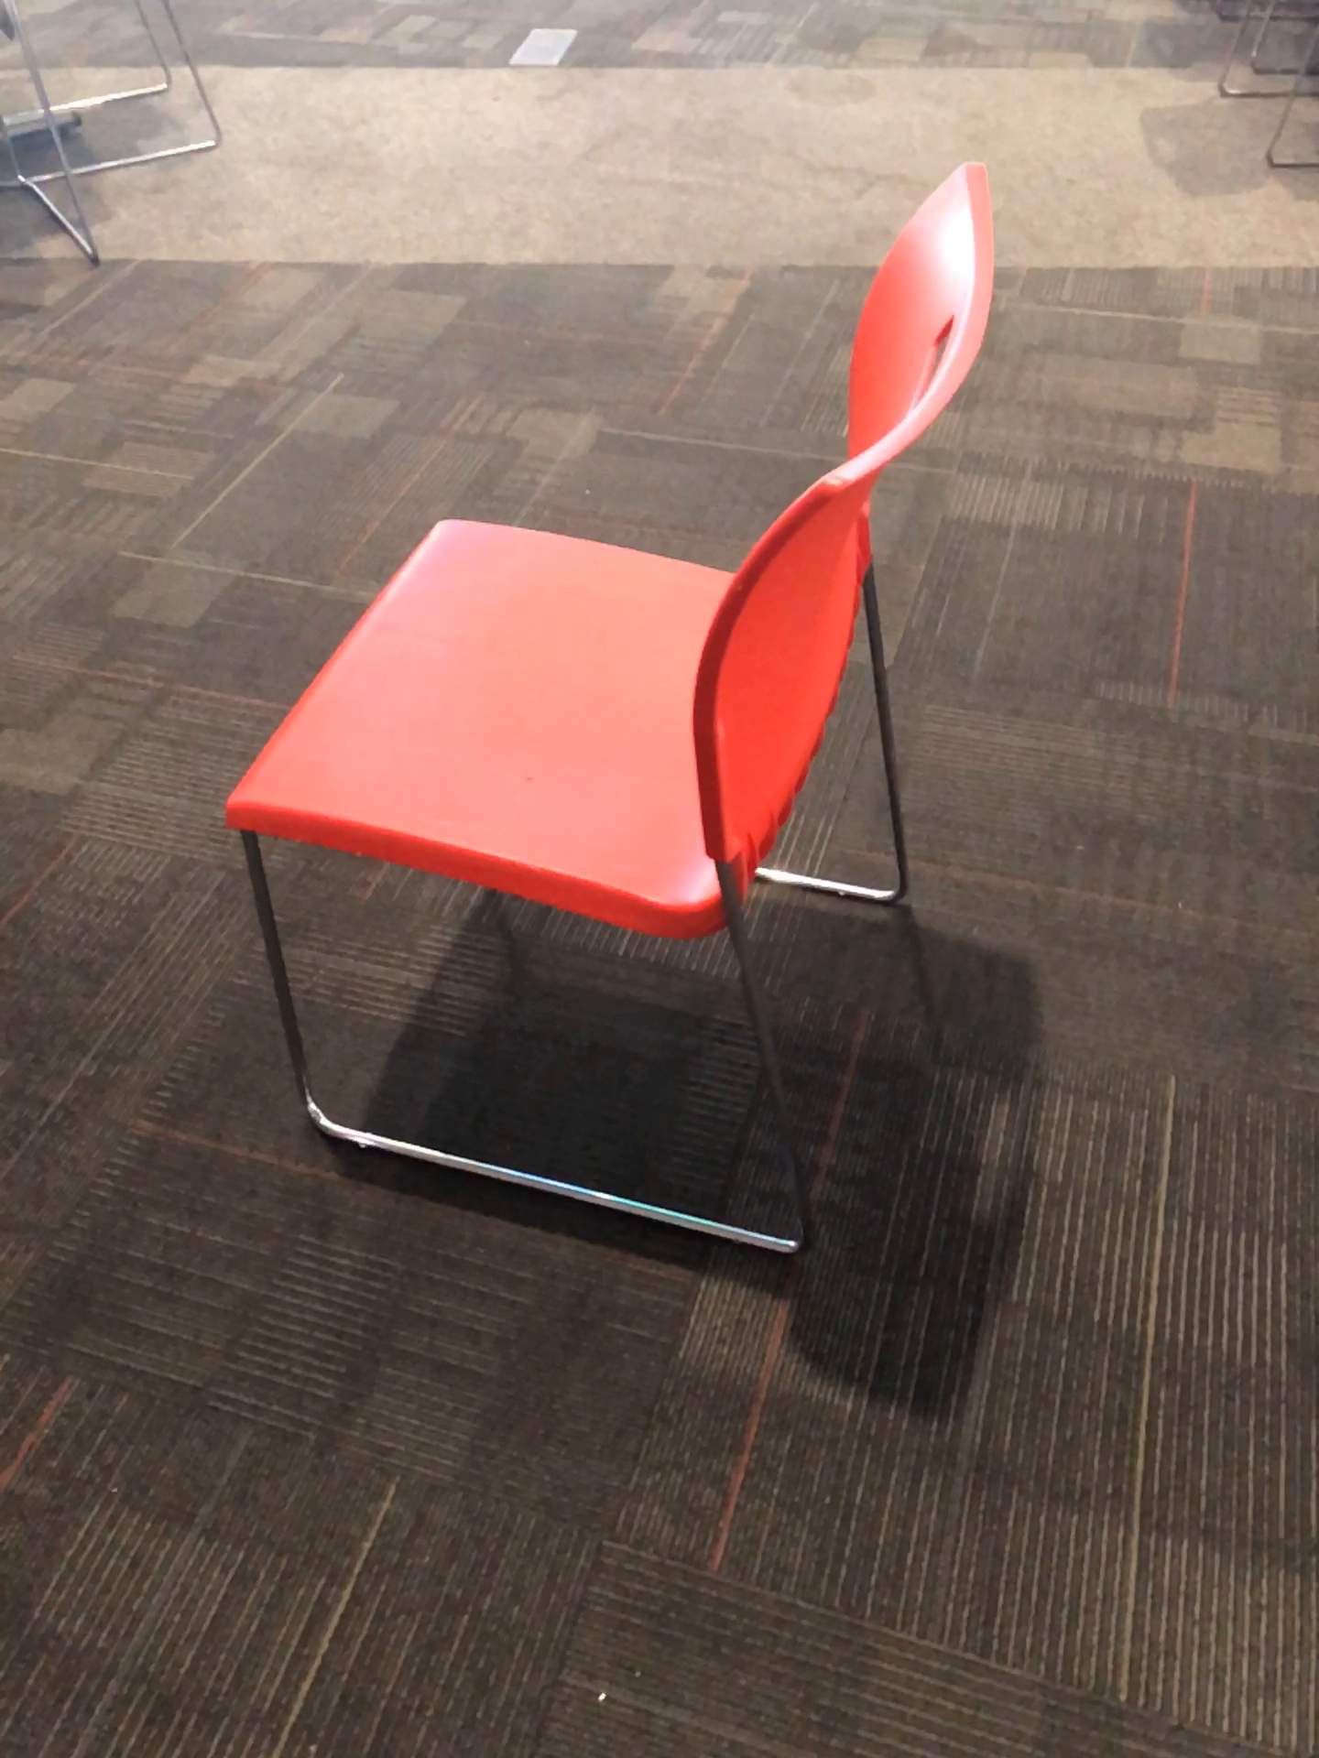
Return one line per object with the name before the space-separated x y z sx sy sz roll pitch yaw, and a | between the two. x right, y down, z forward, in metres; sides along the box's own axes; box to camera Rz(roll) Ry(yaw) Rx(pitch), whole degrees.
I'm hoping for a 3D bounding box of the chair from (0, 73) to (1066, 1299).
chair | -0.058 -0.160 1.237 0.610 0.767 0.562 11 47 14
